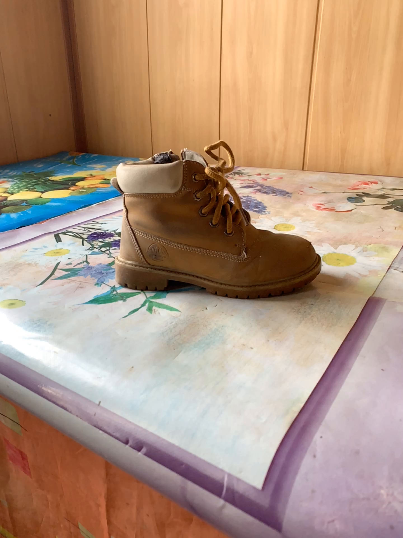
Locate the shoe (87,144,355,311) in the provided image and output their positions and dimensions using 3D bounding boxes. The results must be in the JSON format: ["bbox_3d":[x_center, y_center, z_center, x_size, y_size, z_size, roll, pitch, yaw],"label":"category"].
[{"bbox_3d":[0.019,-0.048,0.402,0.220,0.129,0.091,4,23,10],"label":"shoe"}]
